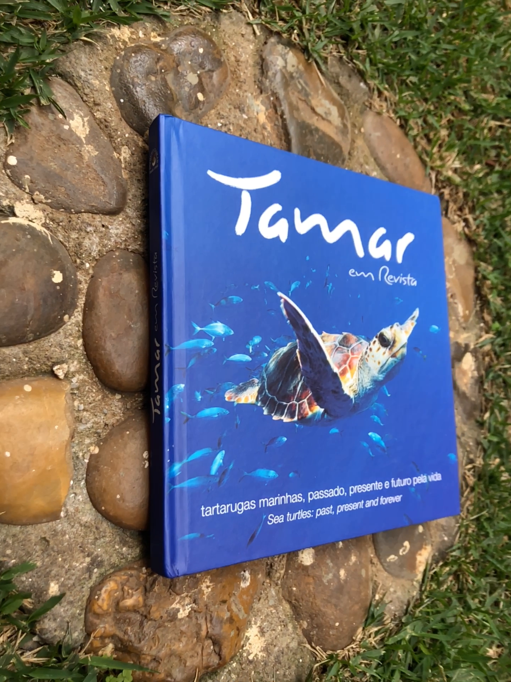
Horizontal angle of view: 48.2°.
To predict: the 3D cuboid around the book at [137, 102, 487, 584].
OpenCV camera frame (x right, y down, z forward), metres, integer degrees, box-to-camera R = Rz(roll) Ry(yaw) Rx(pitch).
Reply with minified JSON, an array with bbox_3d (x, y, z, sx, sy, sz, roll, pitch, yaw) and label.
[{"bbox_3d":[0.036,0.002,0.255,0.180,0.020,0.166,4,82,-35],"label":"book"}]
